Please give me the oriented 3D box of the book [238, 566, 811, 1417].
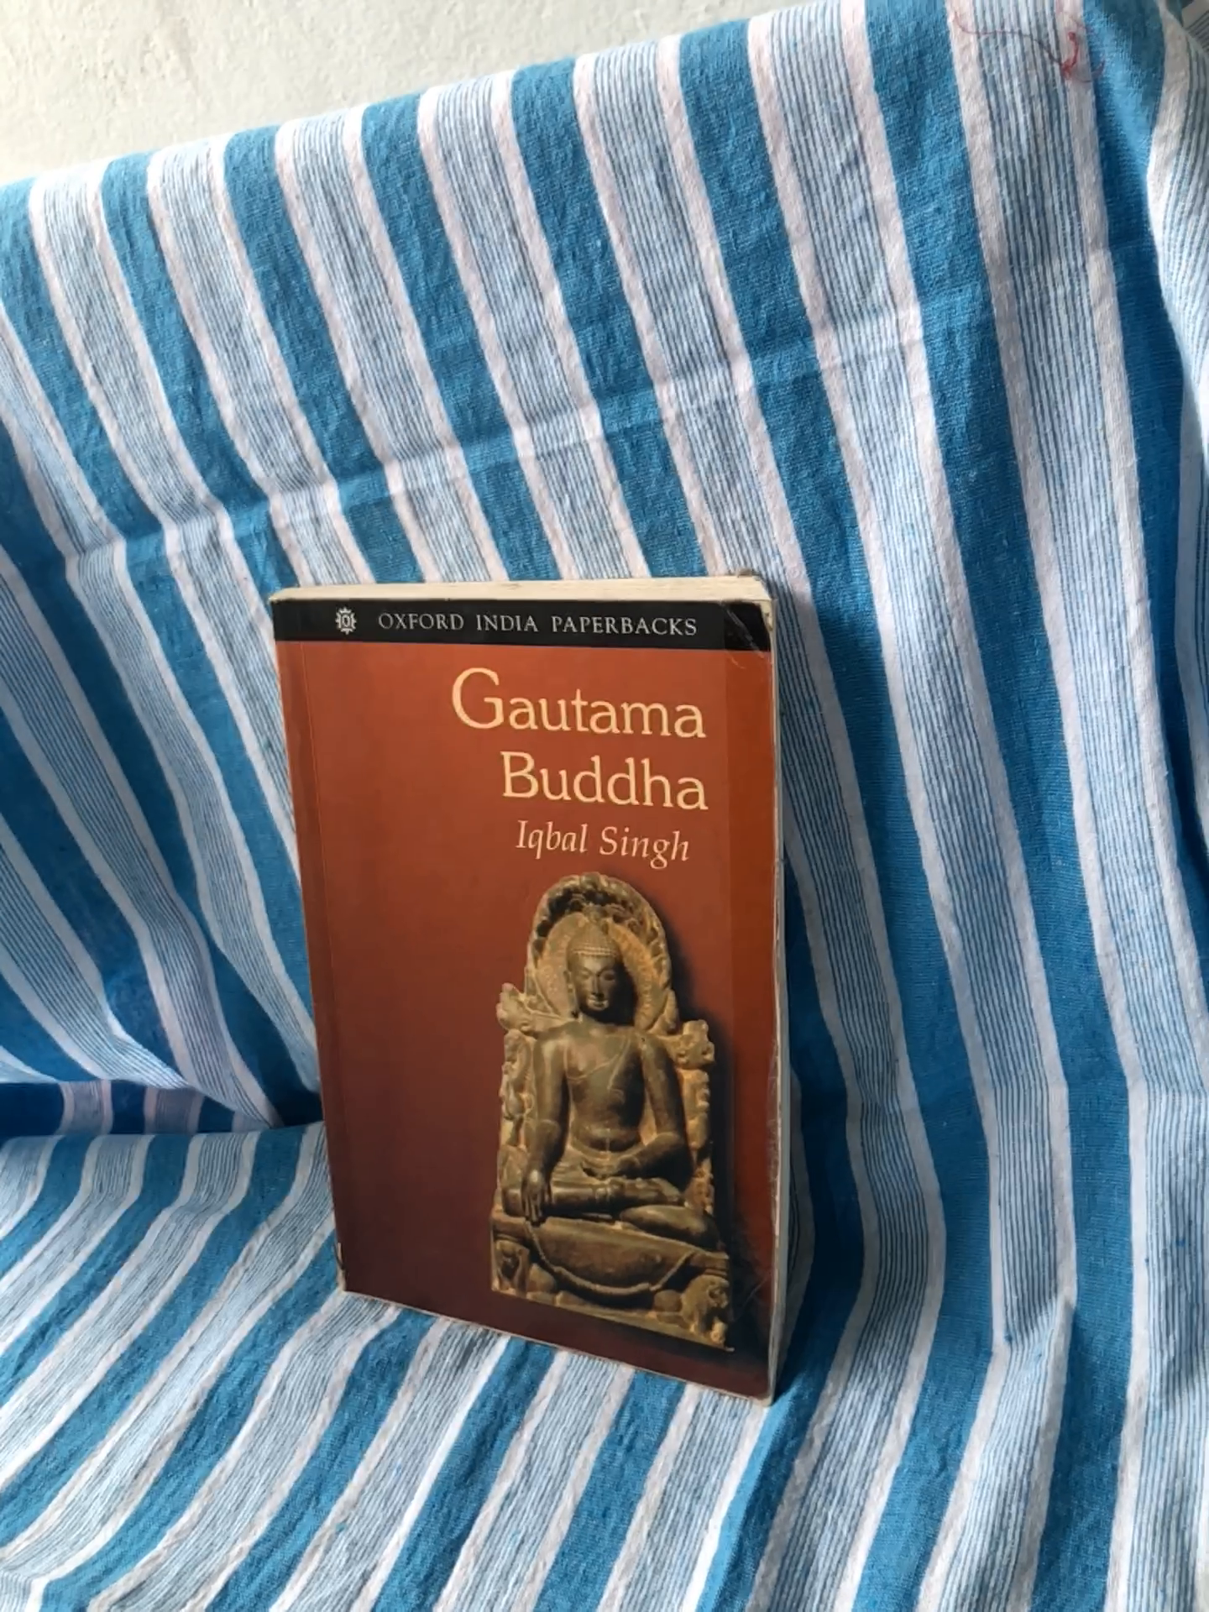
[{"bbox_3d":[-0.020,0.044,0.364,0.140,0.209,0.040,3,14,26],"label":"book"}]
